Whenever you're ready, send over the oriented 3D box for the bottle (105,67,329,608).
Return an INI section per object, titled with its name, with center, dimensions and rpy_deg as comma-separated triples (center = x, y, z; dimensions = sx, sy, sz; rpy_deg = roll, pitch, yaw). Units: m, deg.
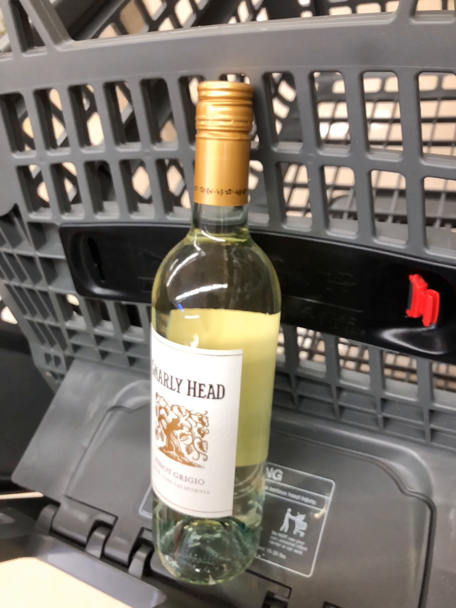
[bottle]
center = -0.012, 0.023, 0.295
dimensions = 0.080, 0.070, 0.280
rpy_deg = 14, 108, 28
